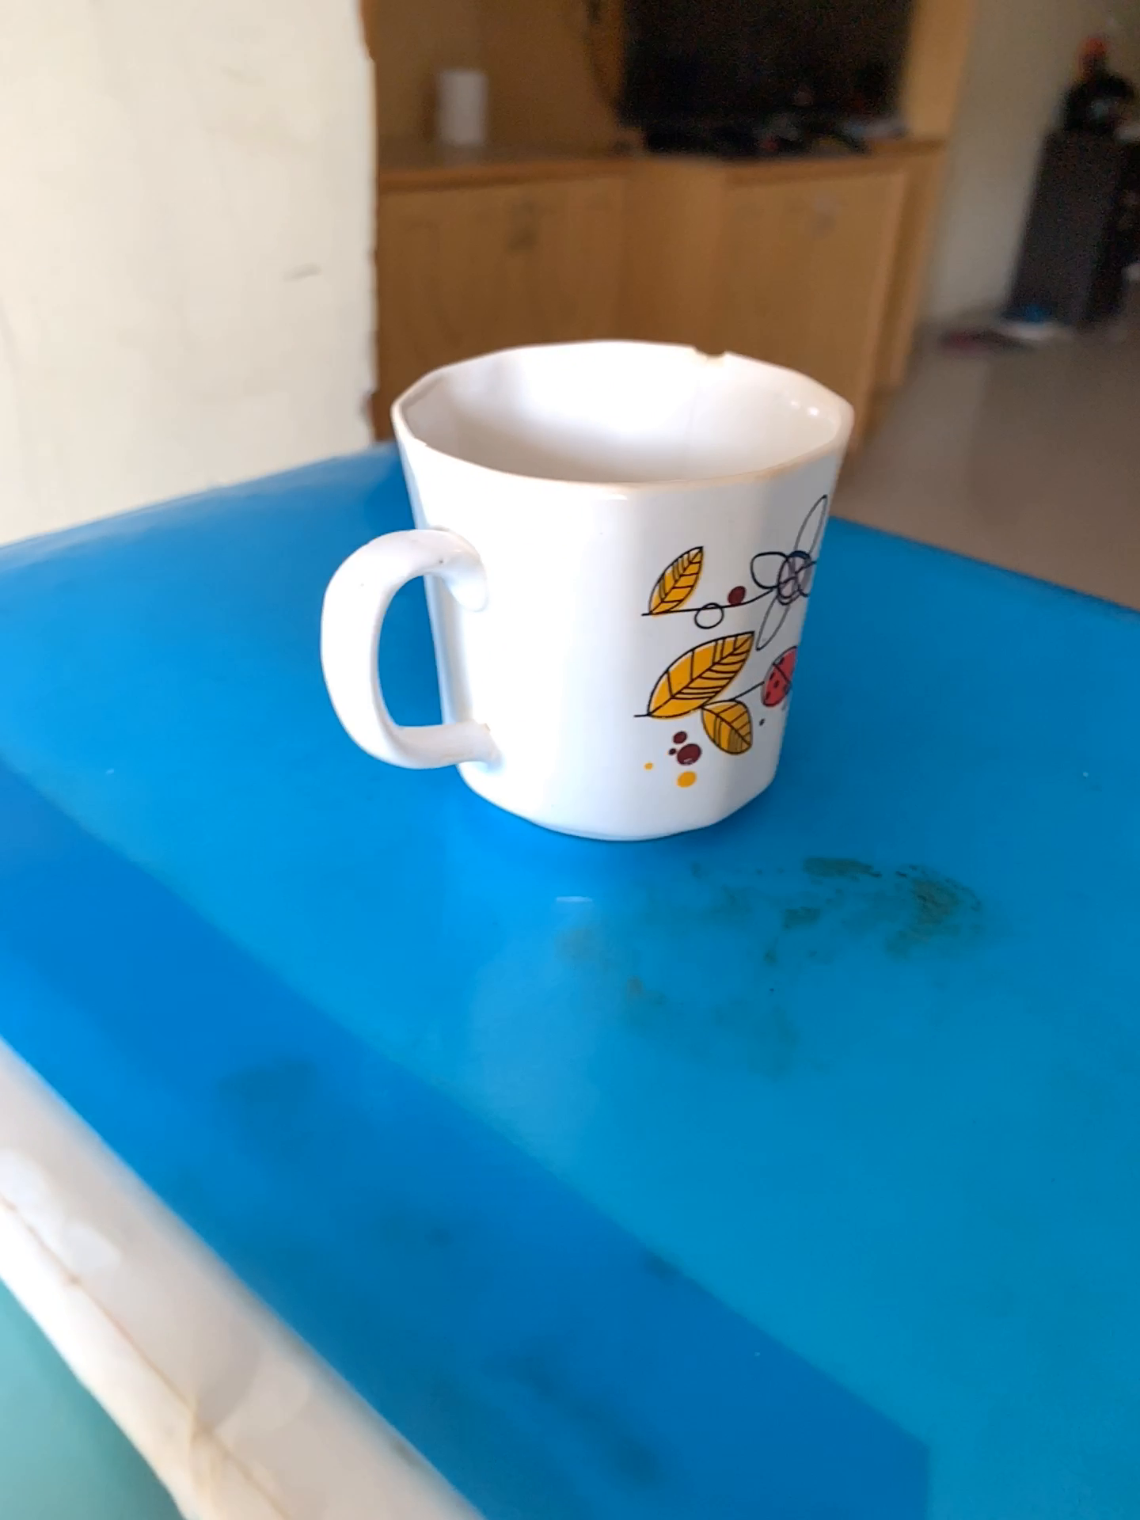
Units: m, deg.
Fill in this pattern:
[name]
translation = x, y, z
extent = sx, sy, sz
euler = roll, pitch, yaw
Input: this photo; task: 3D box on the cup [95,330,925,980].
[cup]
translation = -0.009, -0.027, 0.192
extent = 0.100, 0.060, 0.070
euler = -20, 38, -35
